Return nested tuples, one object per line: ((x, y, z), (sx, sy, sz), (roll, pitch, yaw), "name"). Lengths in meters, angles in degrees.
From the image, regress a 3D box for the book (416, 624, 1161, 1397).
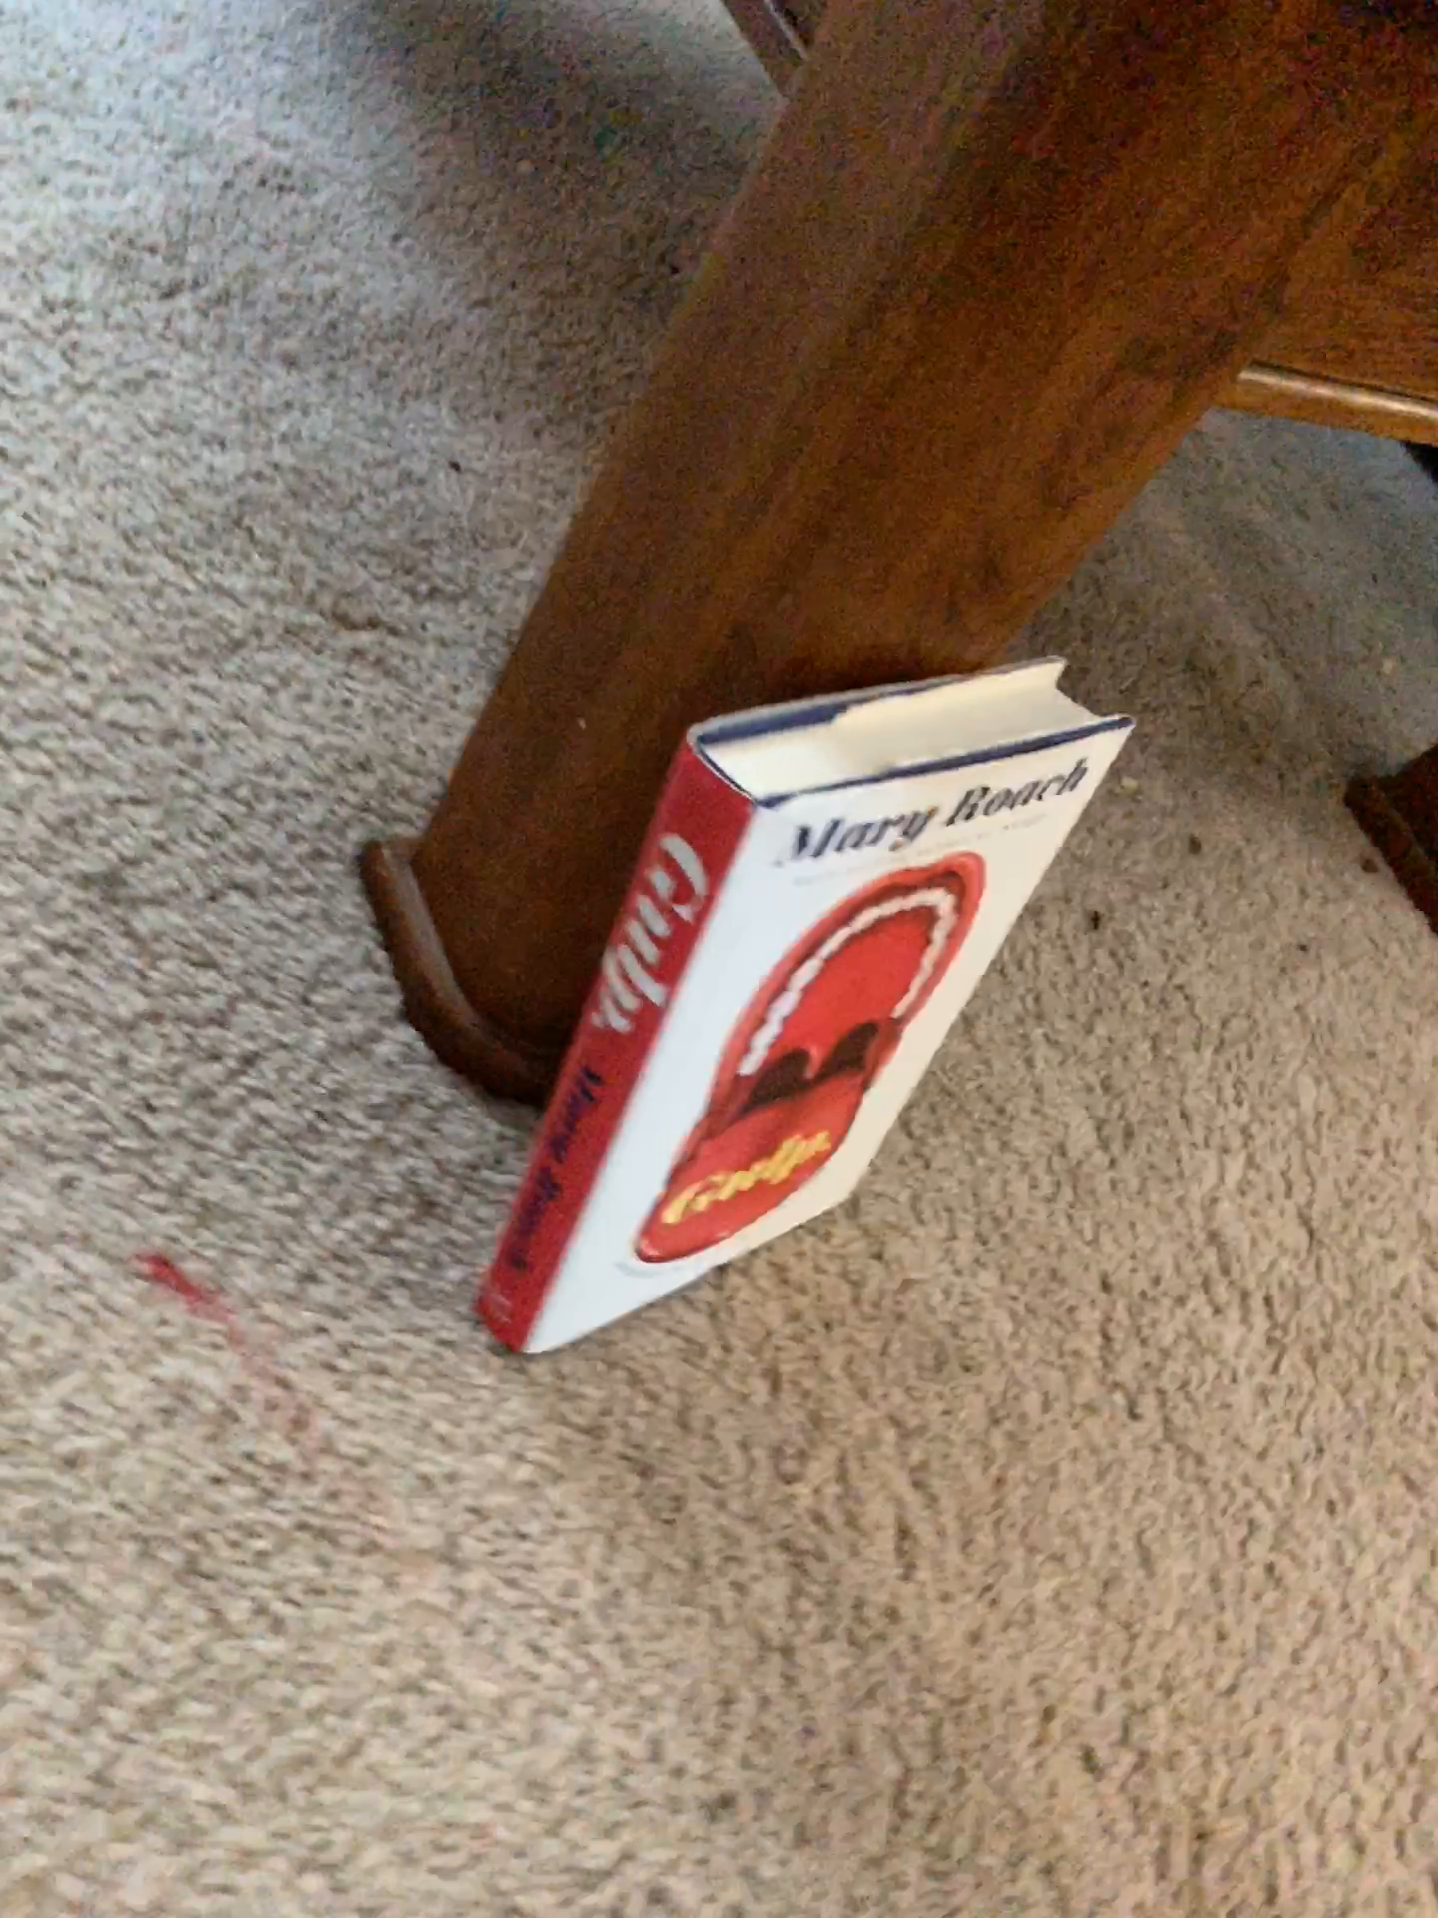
((0.013, 0.018, 0.431), (0.161, 0.229, 0.040), (-17, 54, -39), "book")
